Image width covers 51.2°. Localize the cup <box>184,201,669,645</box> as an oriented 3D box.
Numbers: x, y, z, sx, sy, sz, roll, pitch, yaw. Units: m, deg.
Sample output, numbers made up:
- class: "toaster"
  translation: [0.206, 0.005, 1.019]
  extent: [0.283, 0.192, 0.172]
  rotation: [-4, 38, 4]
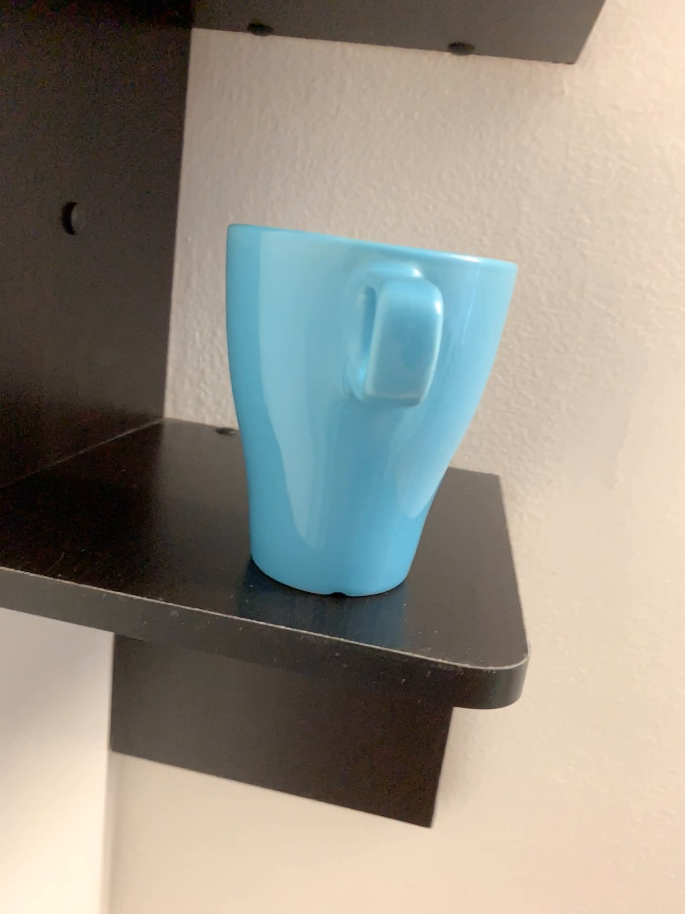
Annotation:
- class: "cup"
  translation: [0.008, -0.016, 0.205]
  extent: [0.090, 0.090, 0.110]
  rotation: [3, 15, -18]
